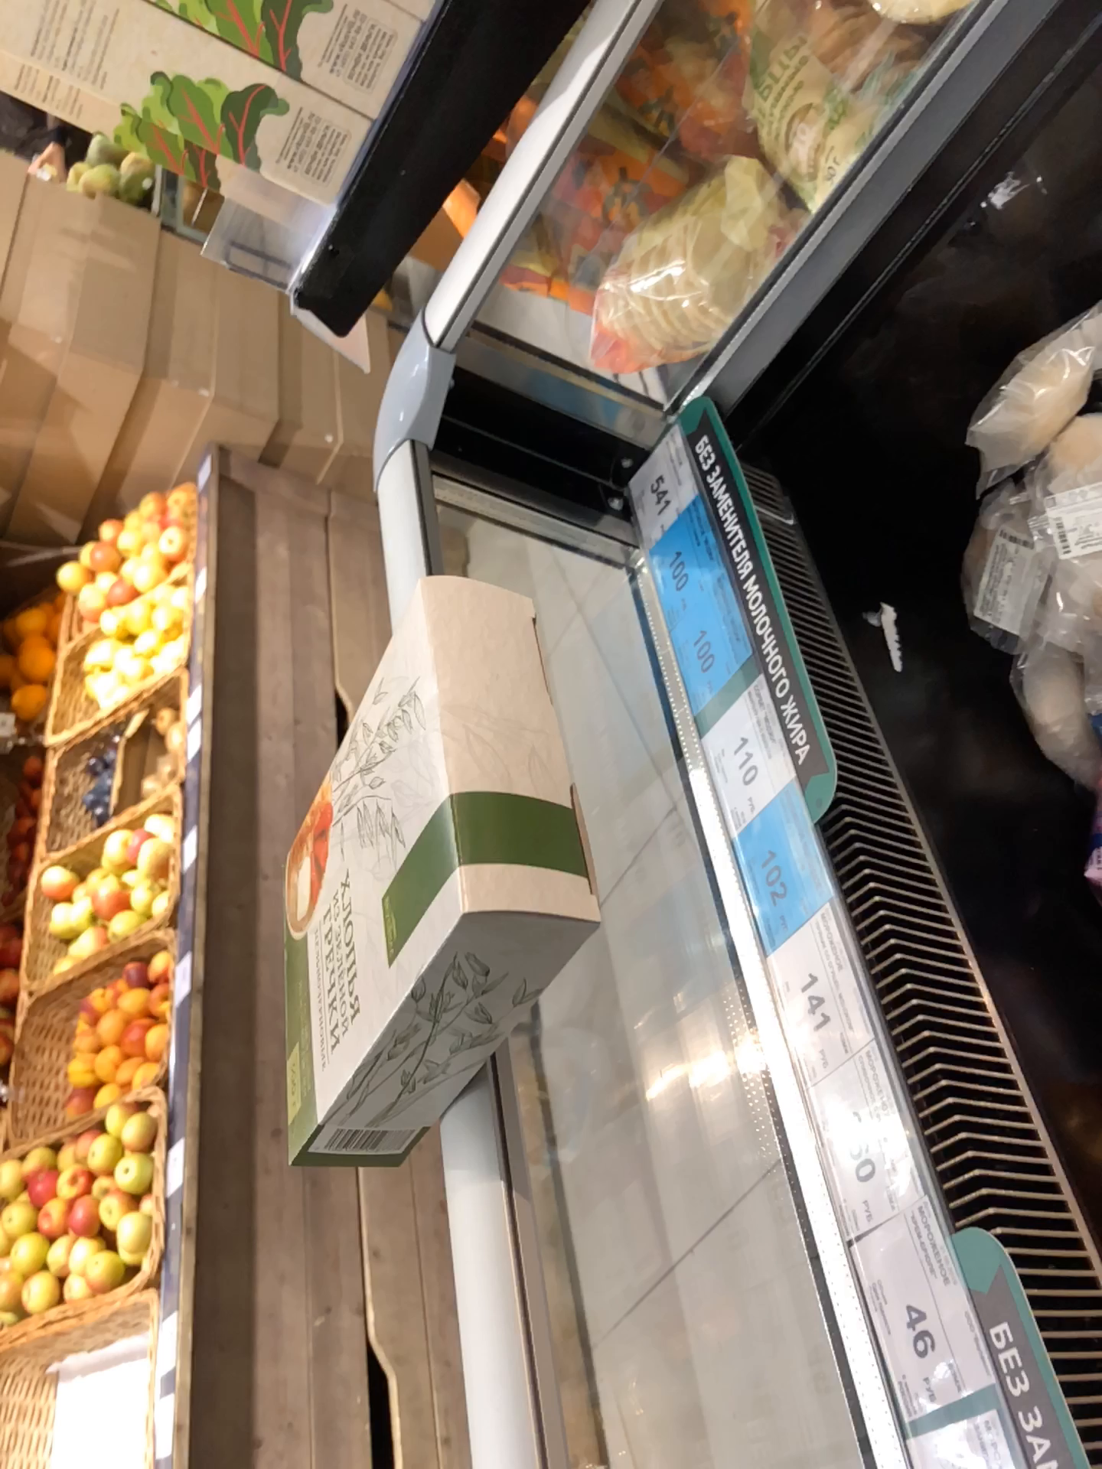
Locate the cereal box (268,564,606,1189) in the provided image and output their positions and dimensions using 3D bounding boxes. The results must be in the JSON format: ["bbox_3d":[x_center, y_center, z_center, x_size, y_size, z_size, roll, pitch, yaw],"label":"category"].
[{"bbox_3d":[-0.058,0.062,0.460,0.200,0.050,0.150,123,145,-45],"label":"cereal box"}]
